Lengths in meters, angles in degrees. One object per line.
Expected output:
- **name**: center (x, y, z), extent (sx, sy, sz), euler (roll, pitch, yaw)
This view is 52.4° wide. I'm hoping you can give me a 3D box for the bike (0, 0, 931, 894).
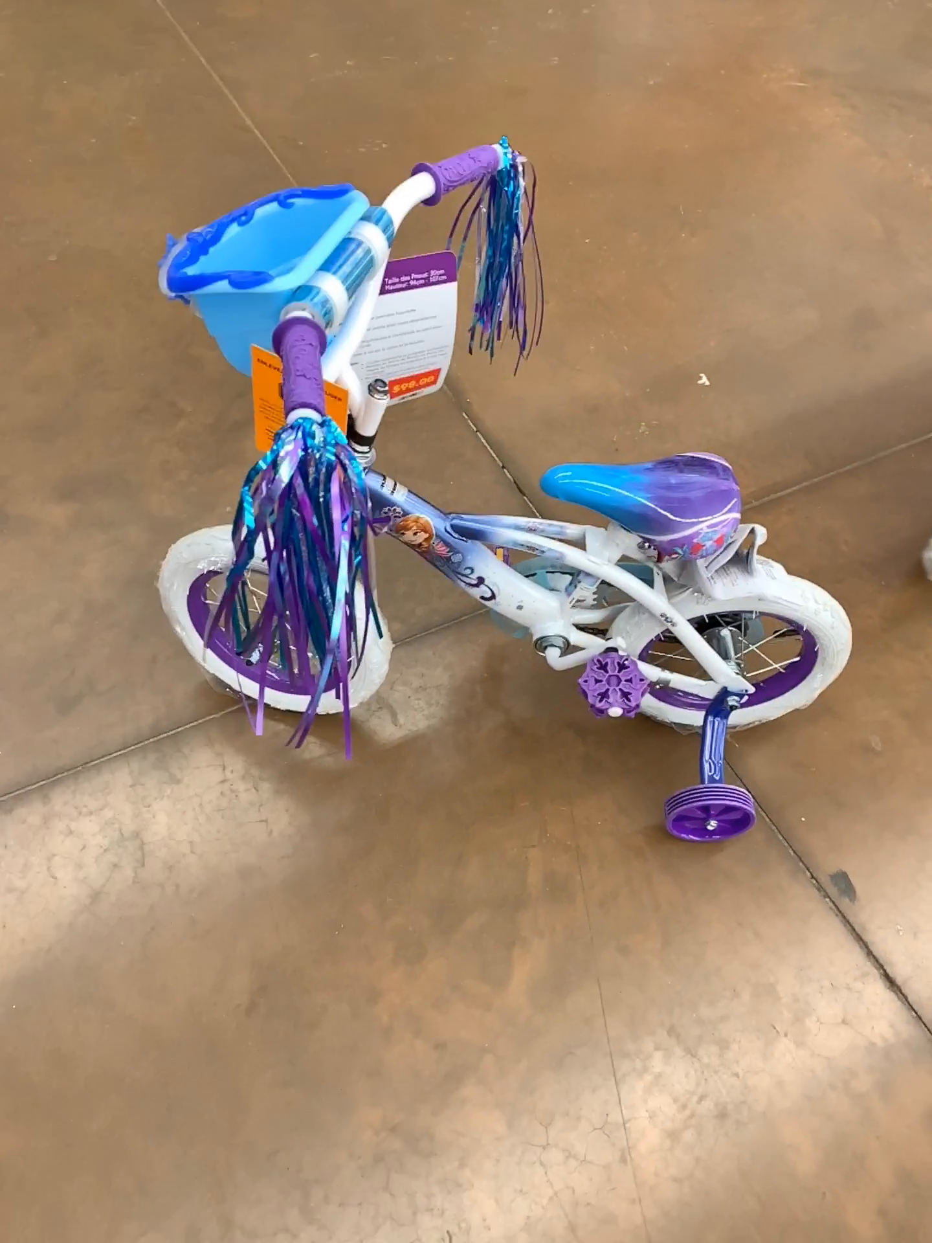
- **bike**: center (0.071, -0.097, 0.935), extent (0.804, 0.633, 0.441), euler (7, 53, -4)
